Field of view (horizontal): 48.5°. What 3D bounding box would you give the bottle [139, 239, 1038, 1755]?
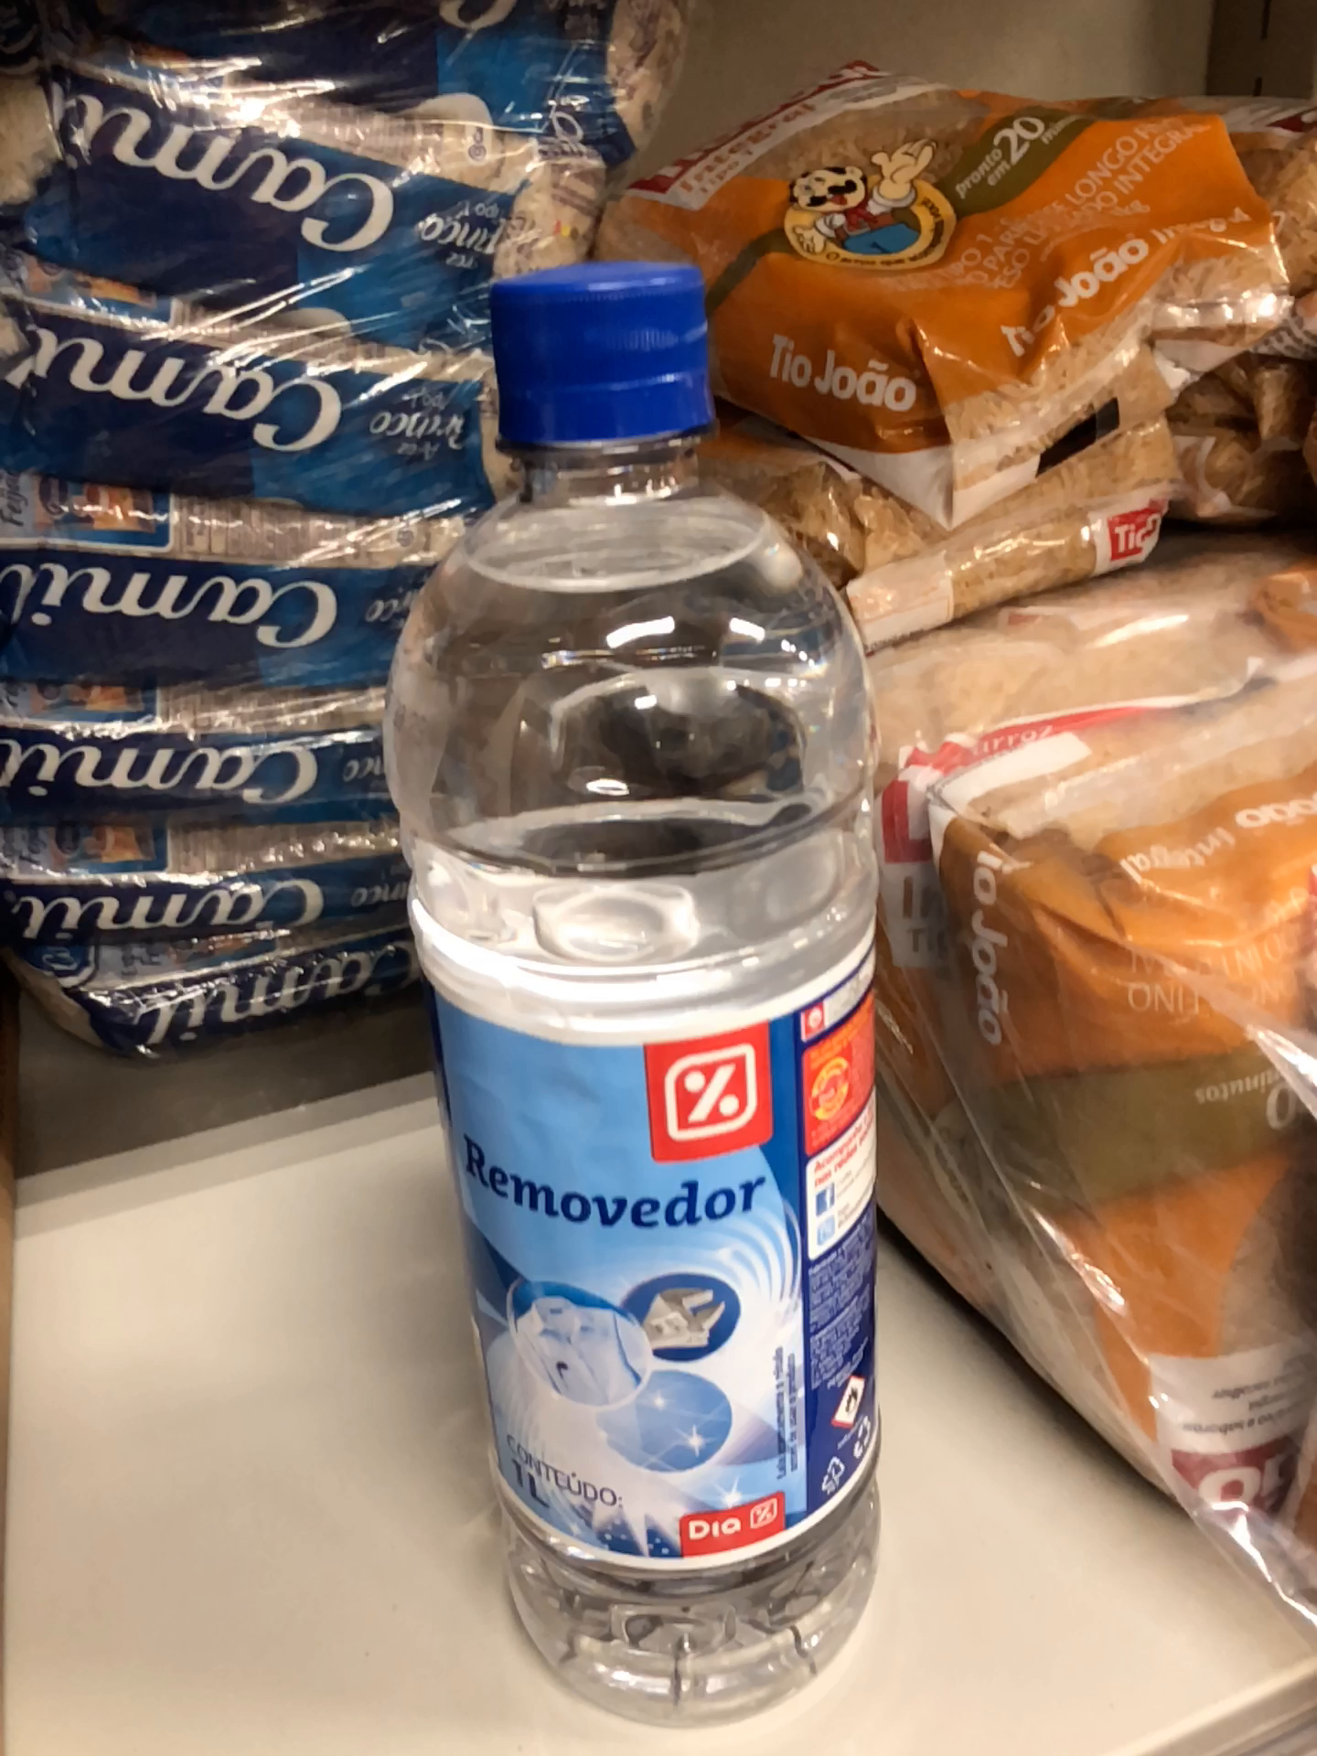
[{"bbox_3d":[0.001,0.034,0.256,0.080,0.258,0.090,20,37,36],"label":"bottle"}]
